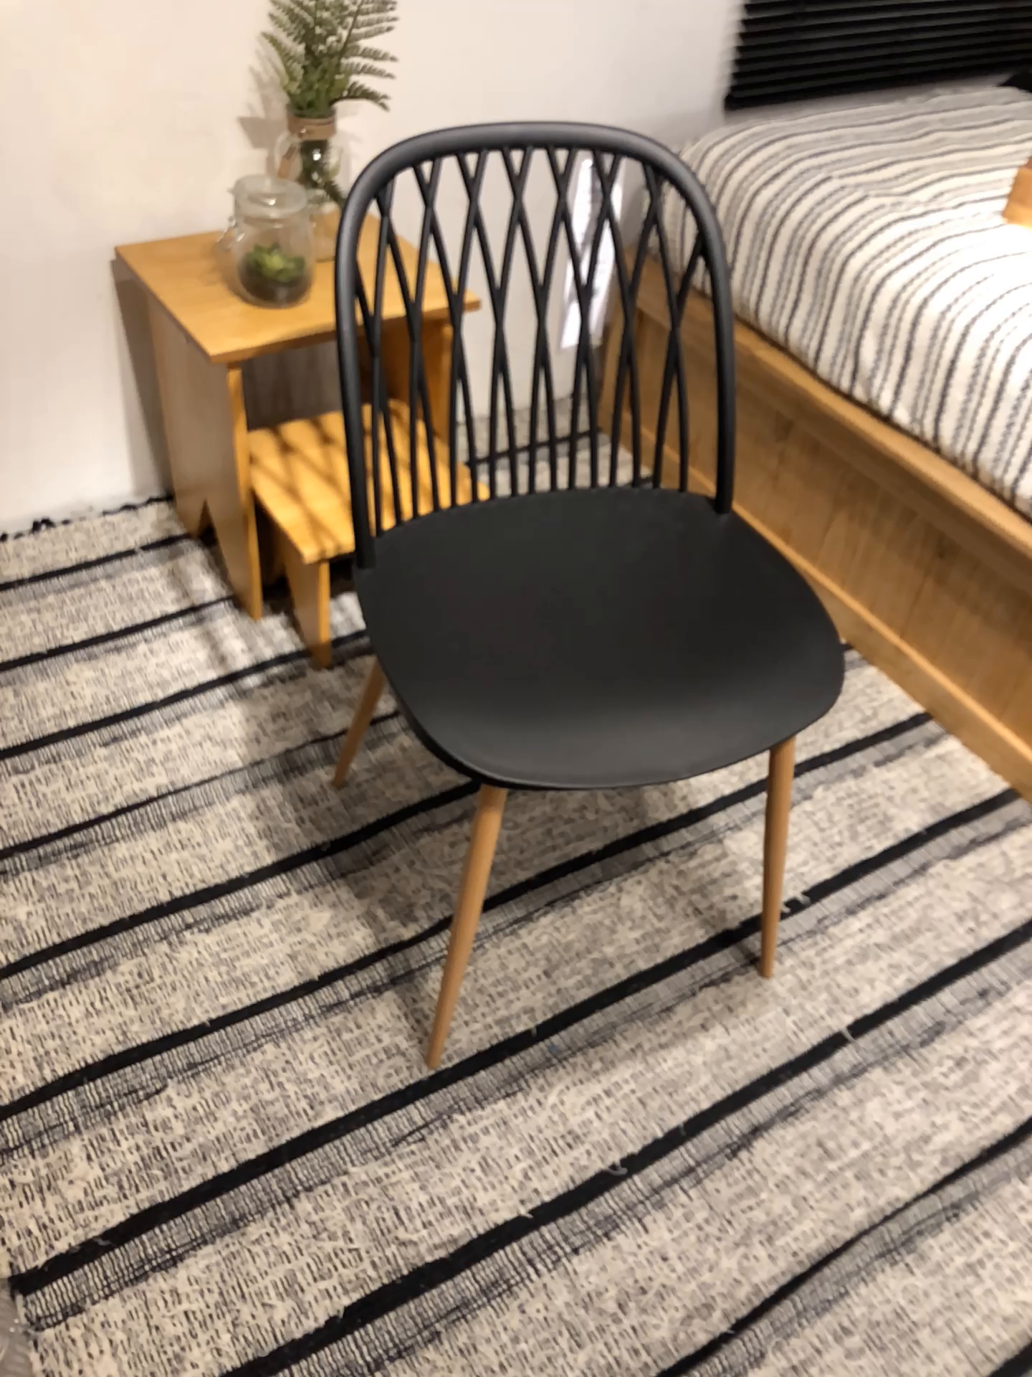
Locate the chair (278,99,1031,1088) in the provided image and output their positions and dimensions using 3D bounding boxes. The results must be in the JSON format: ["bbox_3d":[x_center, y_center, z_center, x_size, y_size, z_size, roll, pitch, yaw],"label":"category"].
[{"bbox_3d":[0.070,-0.092,1.171,0.471,0.774,0.543,-11,45,-17],"label":"chair"}]
